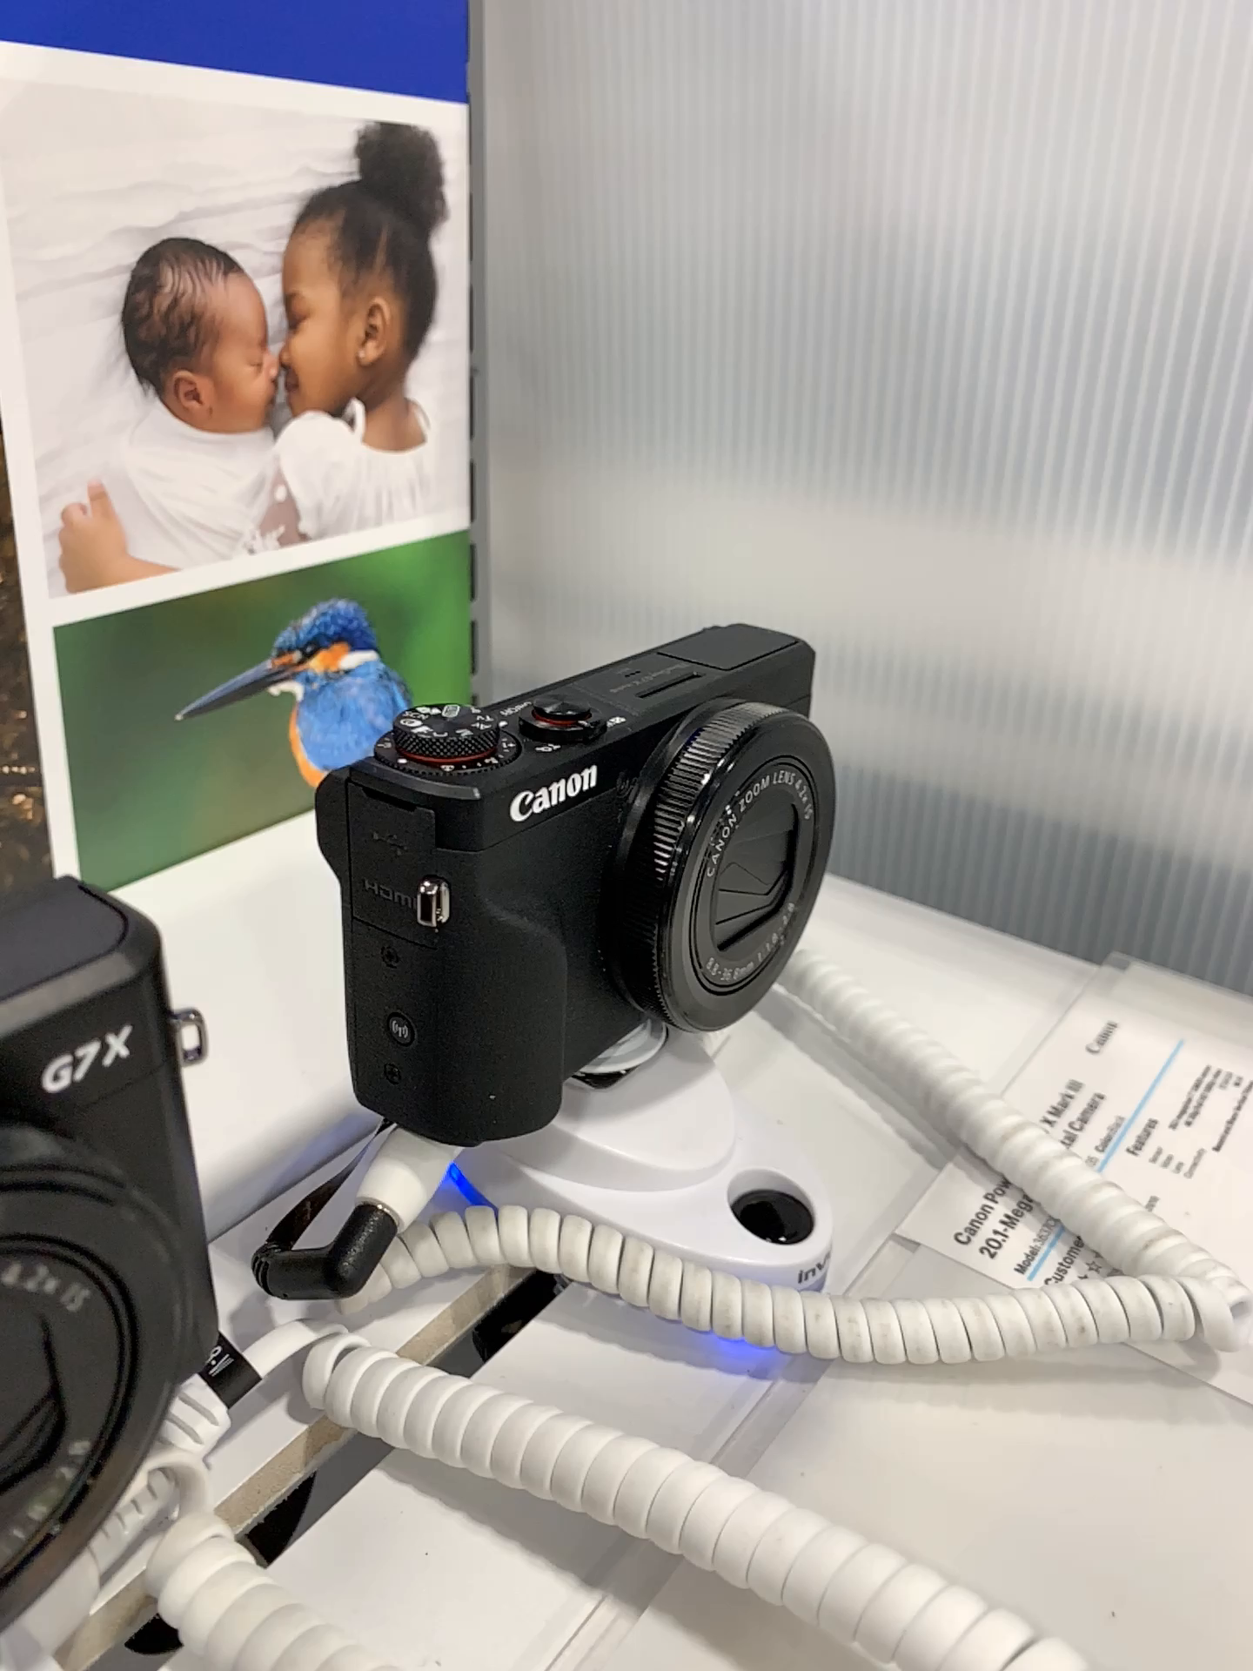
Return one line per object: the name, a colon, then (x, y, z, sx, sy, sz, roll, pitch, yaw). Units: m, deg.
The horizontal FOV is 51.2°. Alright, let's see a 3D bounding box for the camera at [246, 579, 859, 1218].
camera: (-0.007, 0.002, 0.233, 0.040, 0.070, 0.110, 20, 30, 33)
